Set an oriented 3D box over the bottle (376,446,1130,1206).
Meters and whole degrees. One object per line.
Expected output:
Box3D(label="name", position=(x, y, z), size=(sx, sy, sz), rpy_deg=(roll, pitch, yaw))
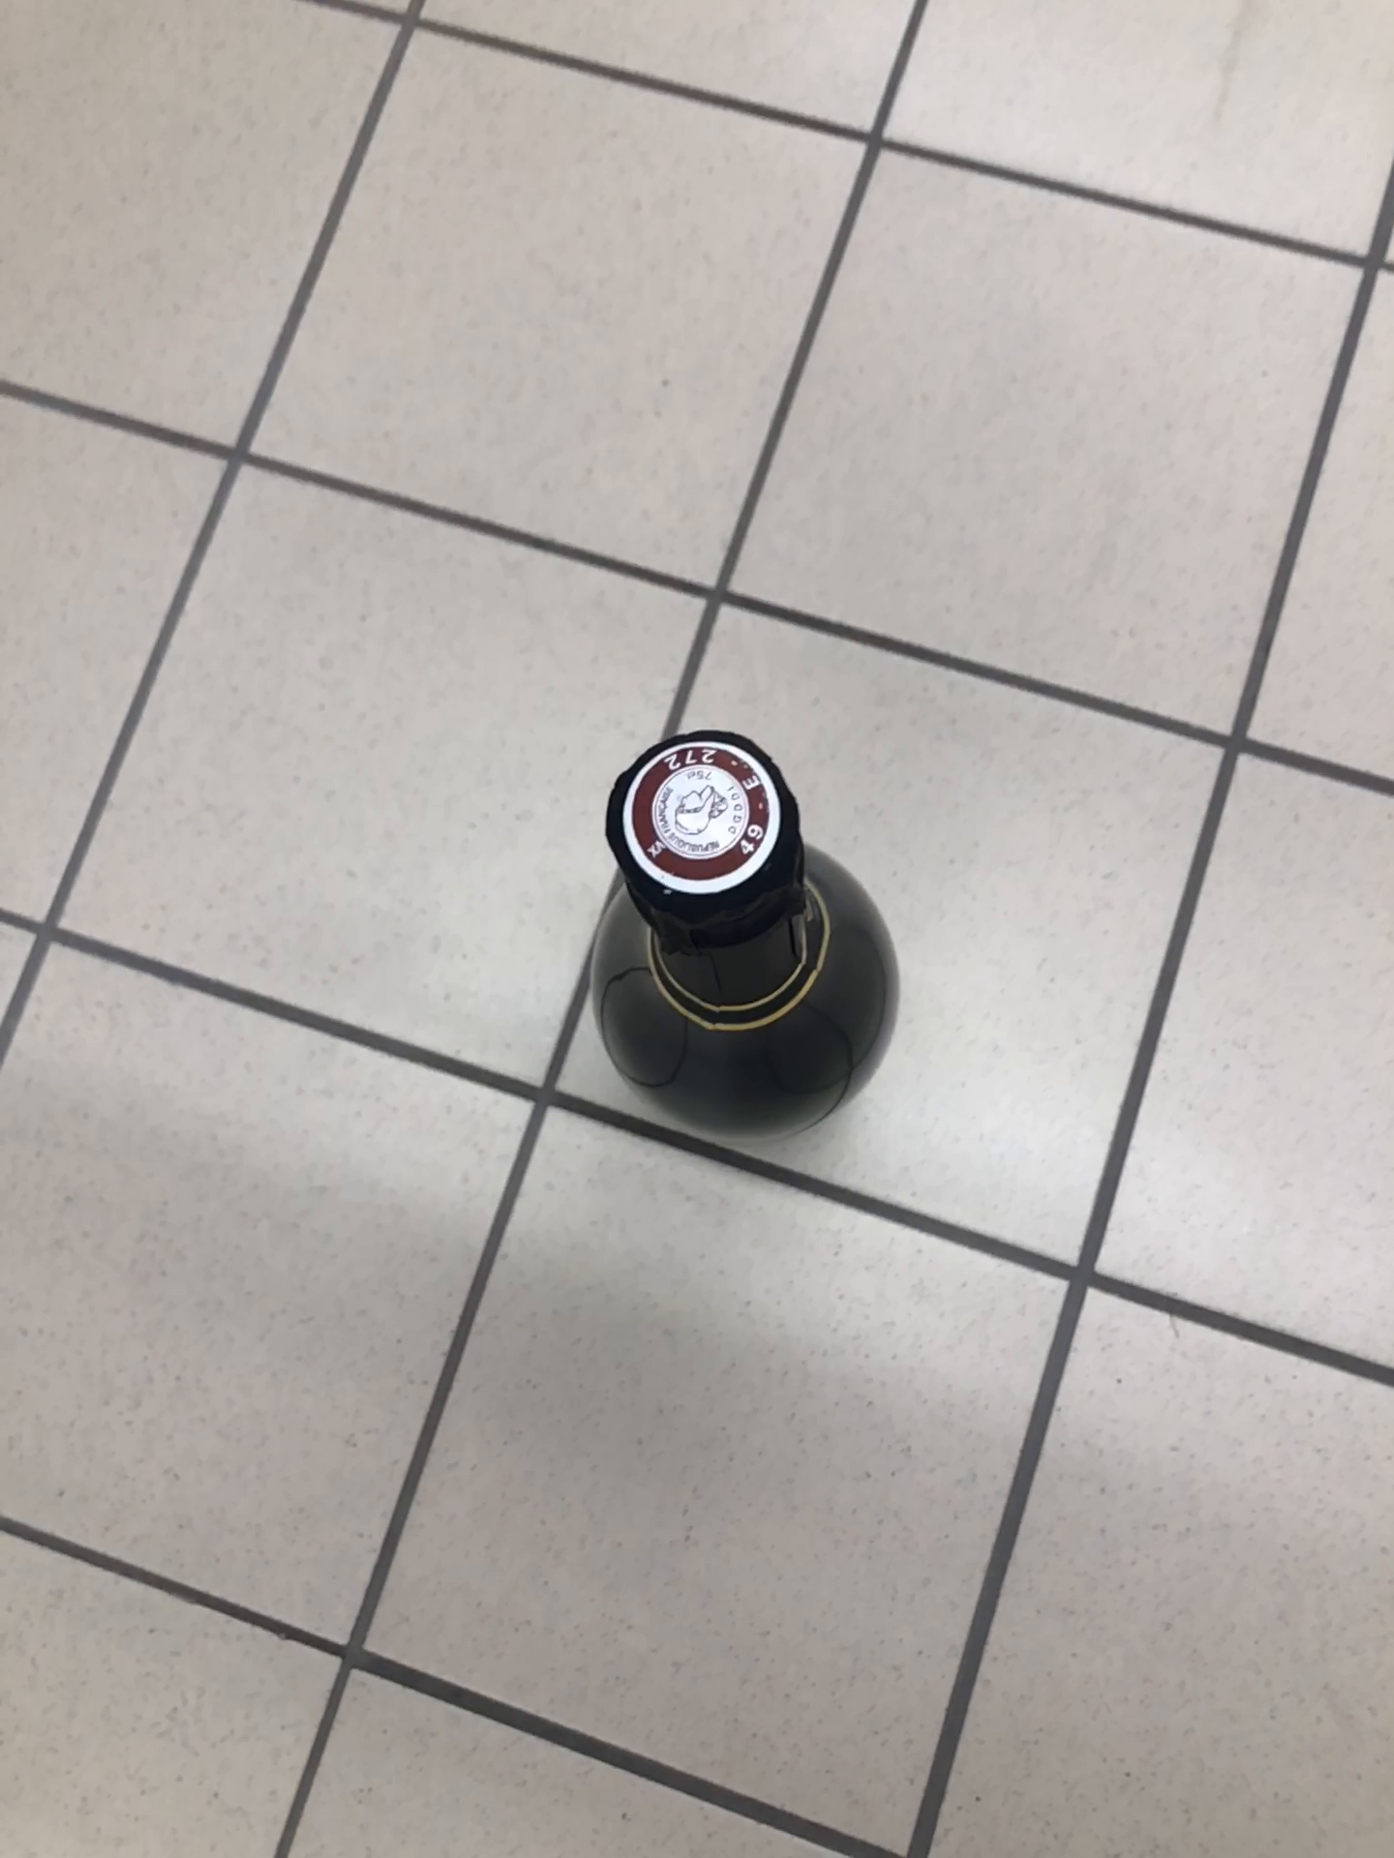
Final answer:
Box3D(label="bottle", position=(0.017, 0.008, 0.401), size=(0.090, 0.310, 0.090), rpy_deg=(-1, 79, 4))
